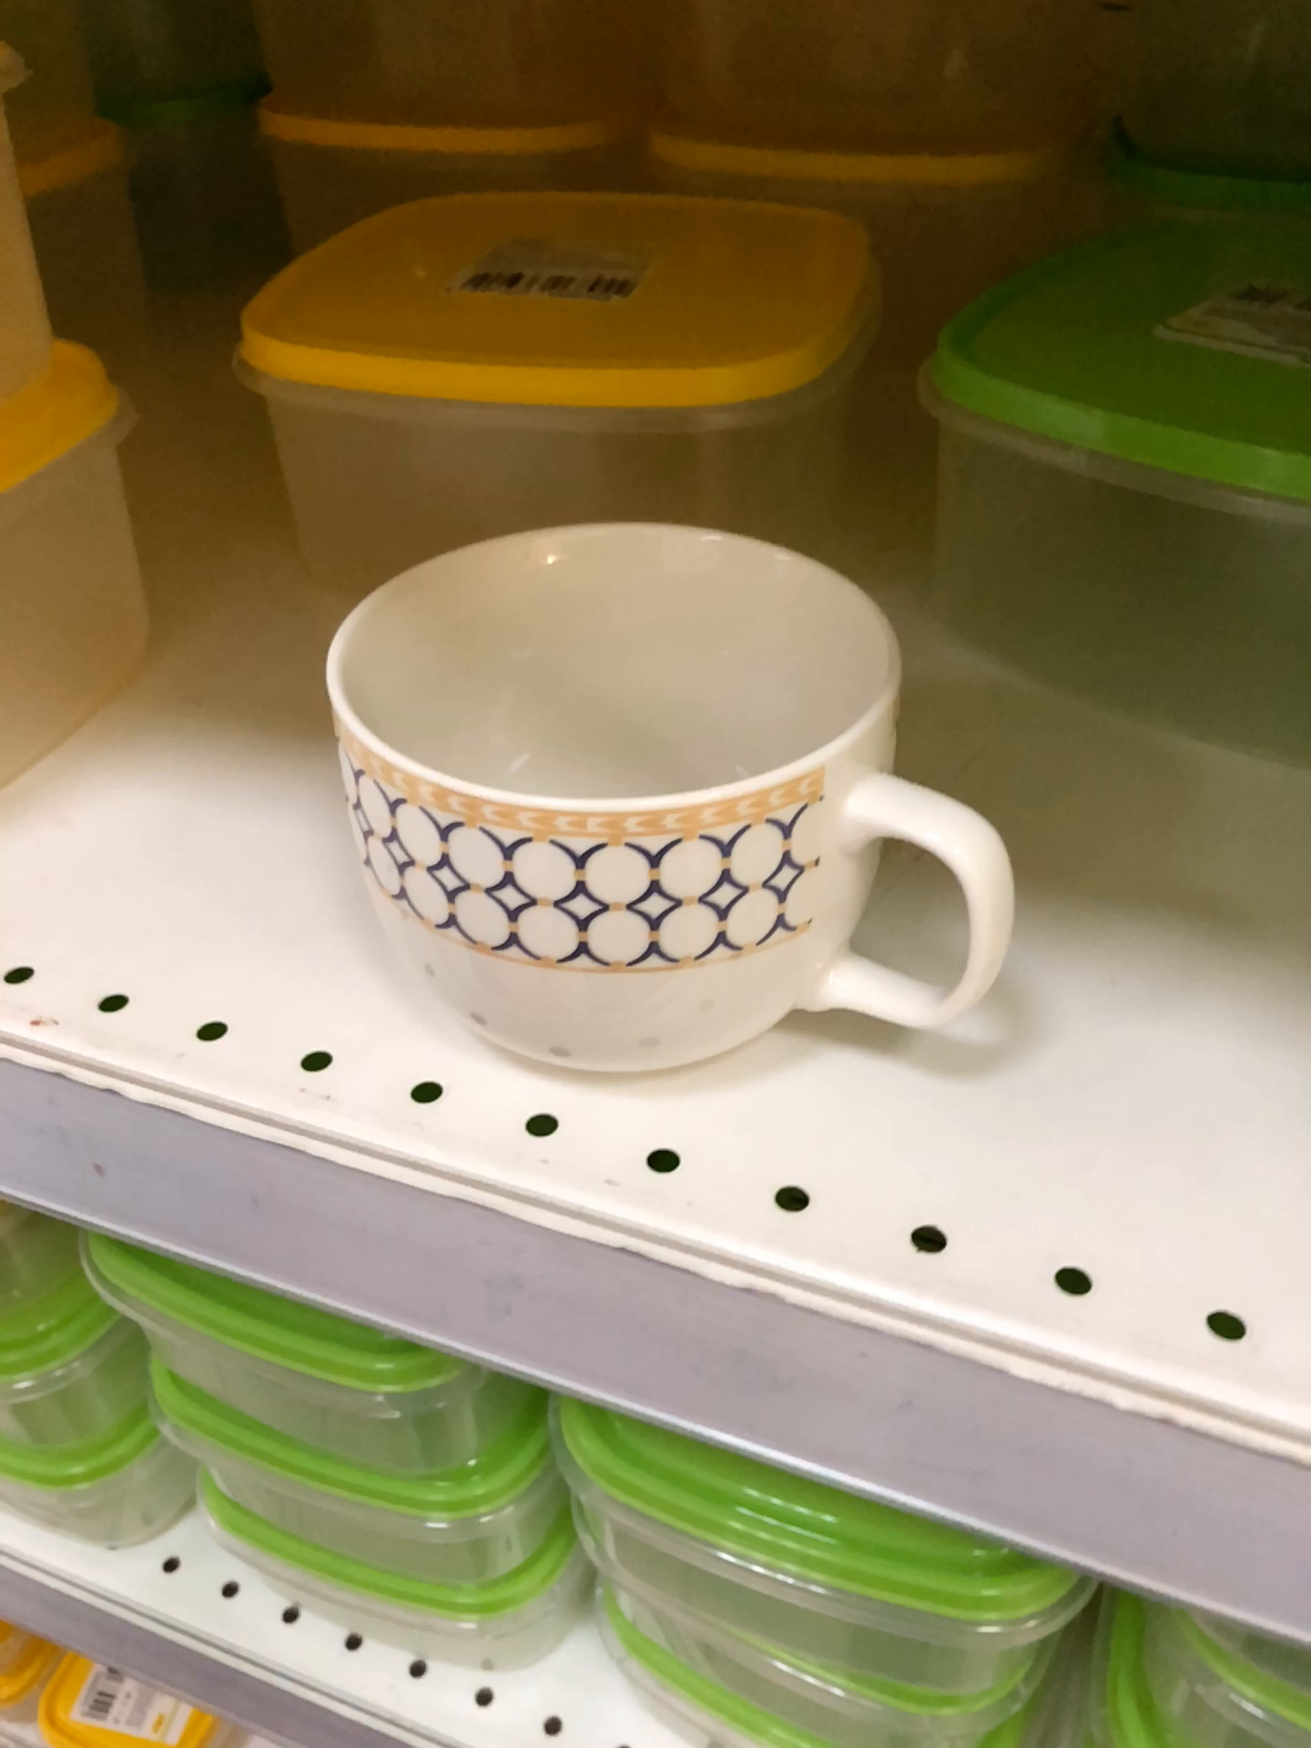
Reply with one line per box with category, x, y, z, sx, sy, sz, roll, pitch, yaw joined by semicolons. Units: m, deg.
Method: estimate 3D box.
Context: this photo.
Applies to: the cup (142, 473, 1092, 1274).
cup;-0.008;-0.013;0.279;0.135;0.062;0.105;28;48;32
